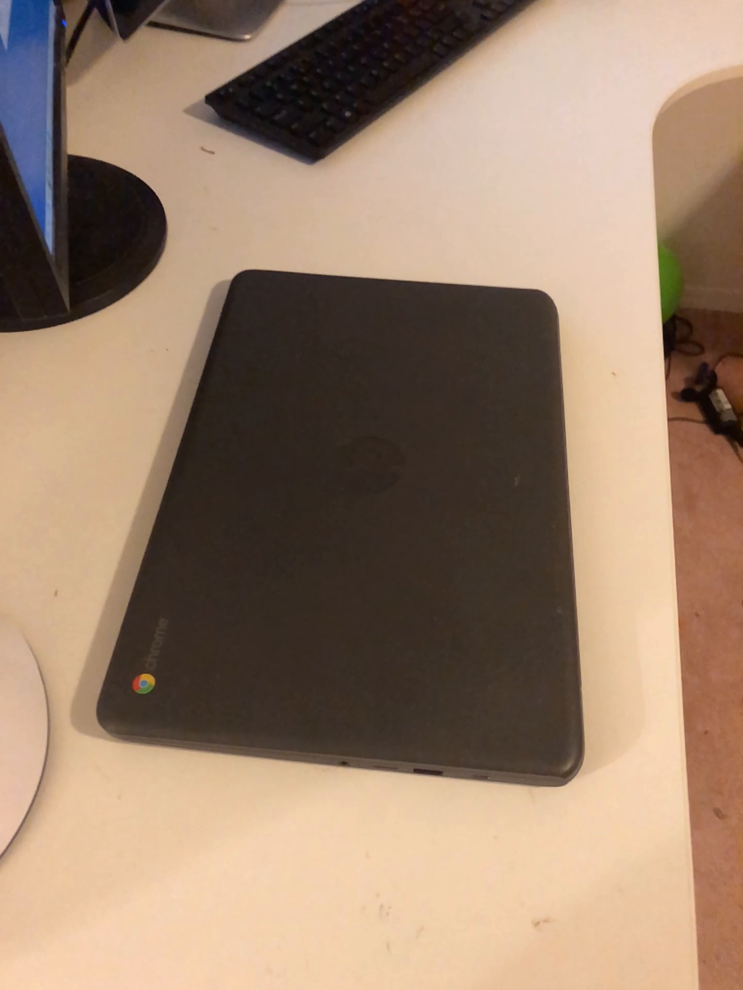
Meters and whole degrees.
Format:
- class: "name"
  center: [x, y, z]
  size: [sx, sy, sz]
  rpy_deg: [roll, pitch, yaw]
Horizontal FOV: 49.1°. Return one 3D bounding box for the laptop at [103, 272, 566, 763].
- class: "laptop"
  center: [-0.003, -0.018, 0.465]
  size: [0.208, 0.001, 0.327]
  rpy_deg: [5, 52, 2]
